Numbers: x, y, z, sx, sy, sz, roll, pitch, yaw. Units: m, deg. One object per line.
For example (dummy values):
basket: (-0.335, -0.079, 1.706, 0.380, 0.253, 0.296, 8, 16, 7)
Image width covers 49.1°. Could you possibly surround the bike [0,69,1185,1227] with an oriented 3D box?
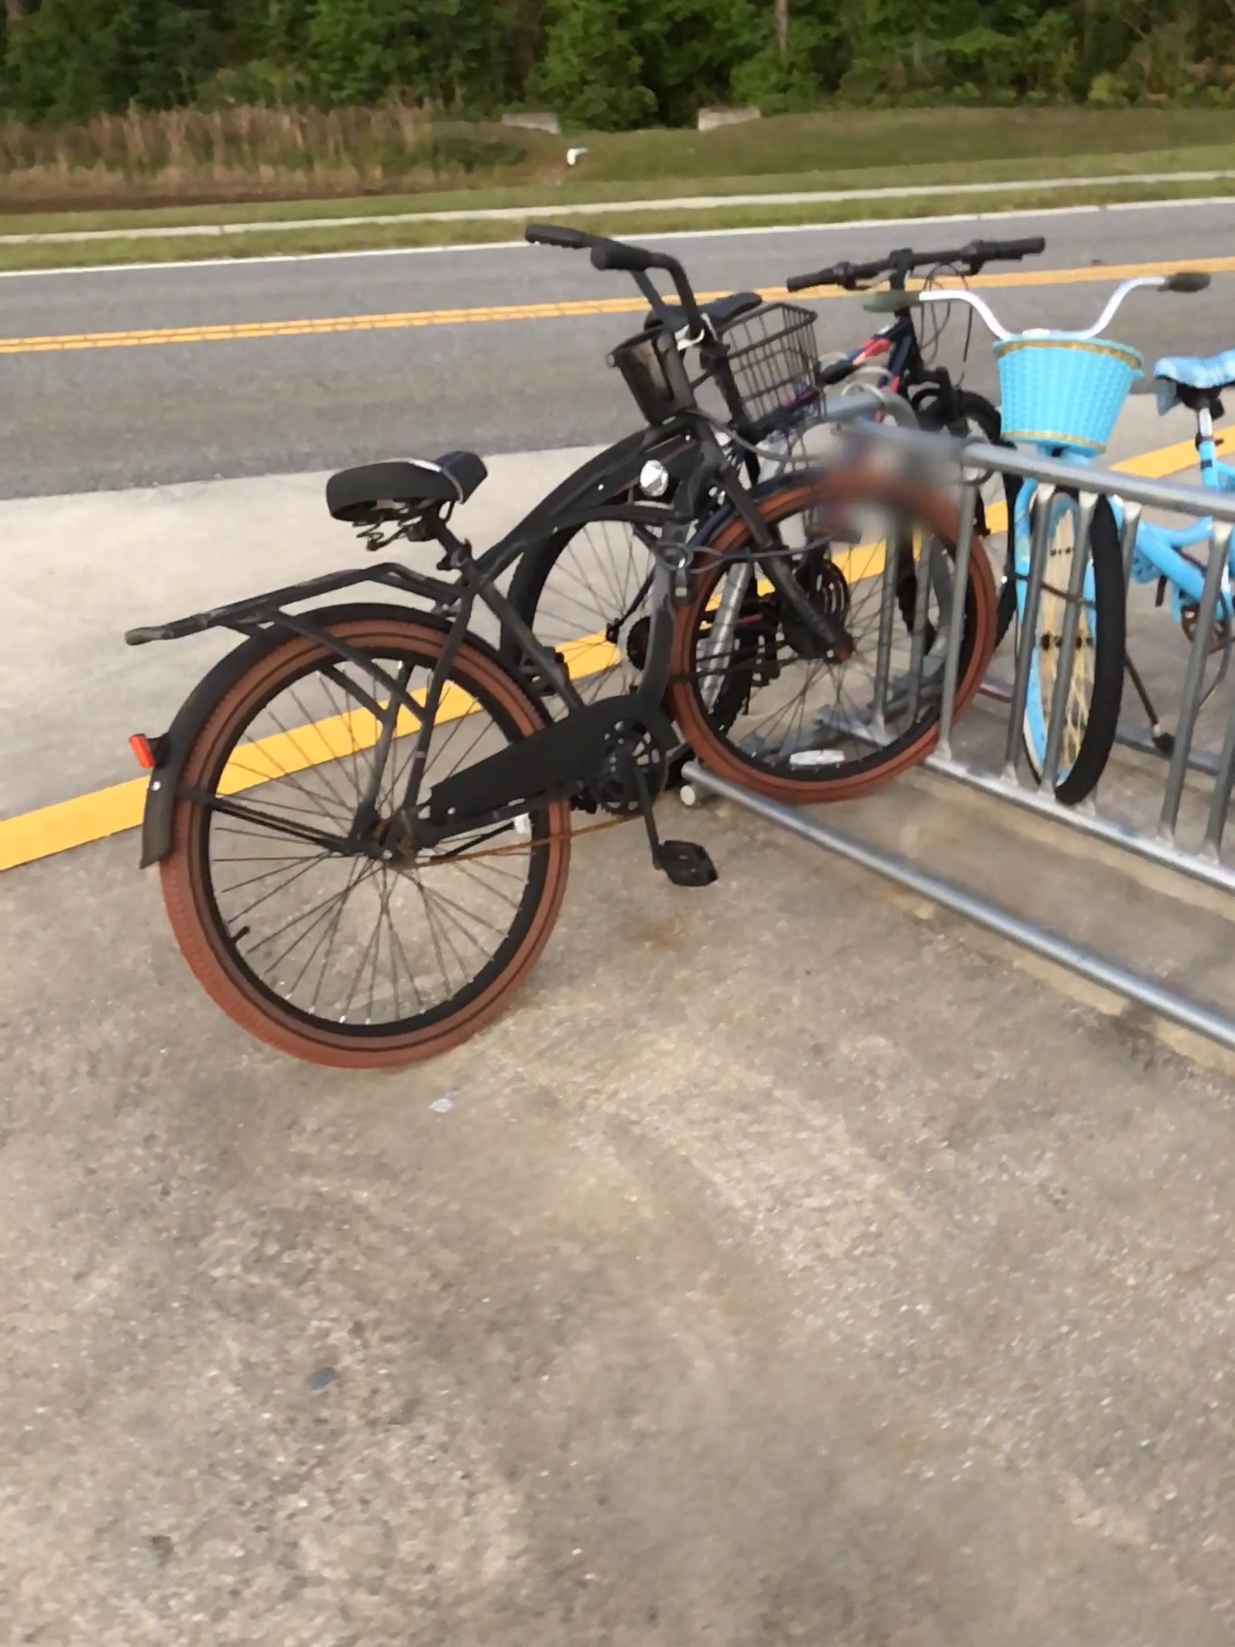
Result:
bike: (-0.011, -0.460, 2.256, 1.725, 1.117, 0.832, -30, 39, -32)
